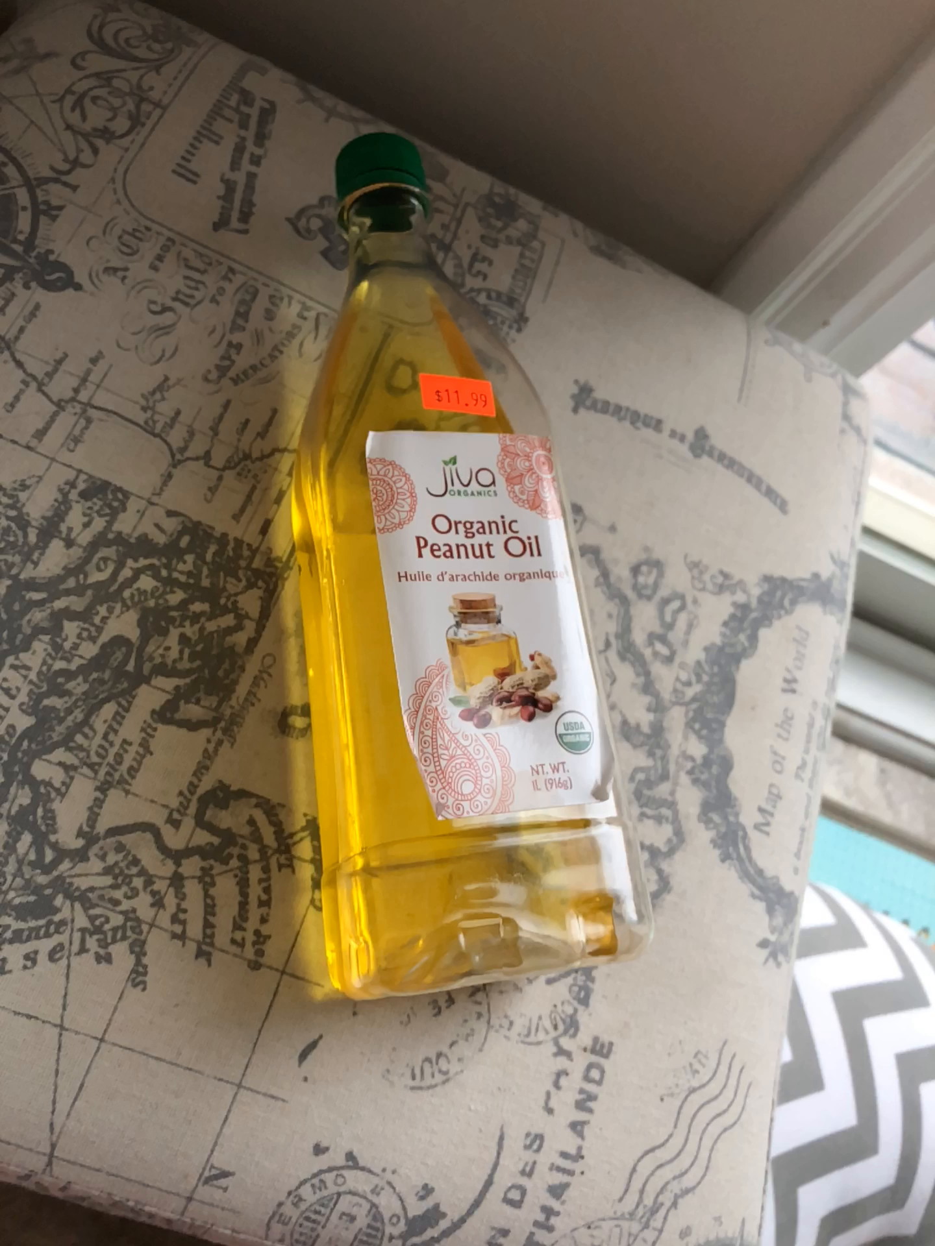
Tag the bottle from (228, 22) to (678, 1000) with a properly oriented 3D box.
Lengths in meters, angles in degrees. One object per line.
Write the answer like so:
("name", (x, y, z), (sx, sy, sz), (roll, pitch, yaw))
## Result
("bottle", (-0.016, -0.036, 0.312), (0.080, 0.070, 0.270), (-1, 72, -23))
